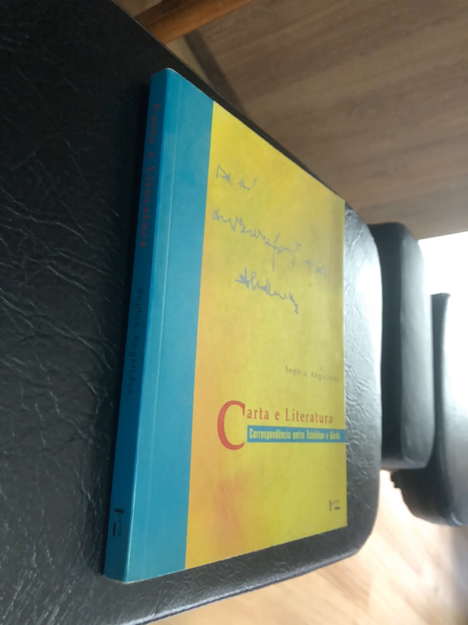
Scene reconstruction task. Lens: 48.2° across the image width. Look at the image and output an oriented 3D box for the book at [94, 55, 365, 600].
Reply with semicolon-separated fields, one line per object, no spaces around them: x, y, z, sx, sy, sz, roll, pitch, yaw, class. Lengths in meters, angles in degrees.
0.018;0.012;0.270;0.174;0.024;0.208;17;72;-49;book
